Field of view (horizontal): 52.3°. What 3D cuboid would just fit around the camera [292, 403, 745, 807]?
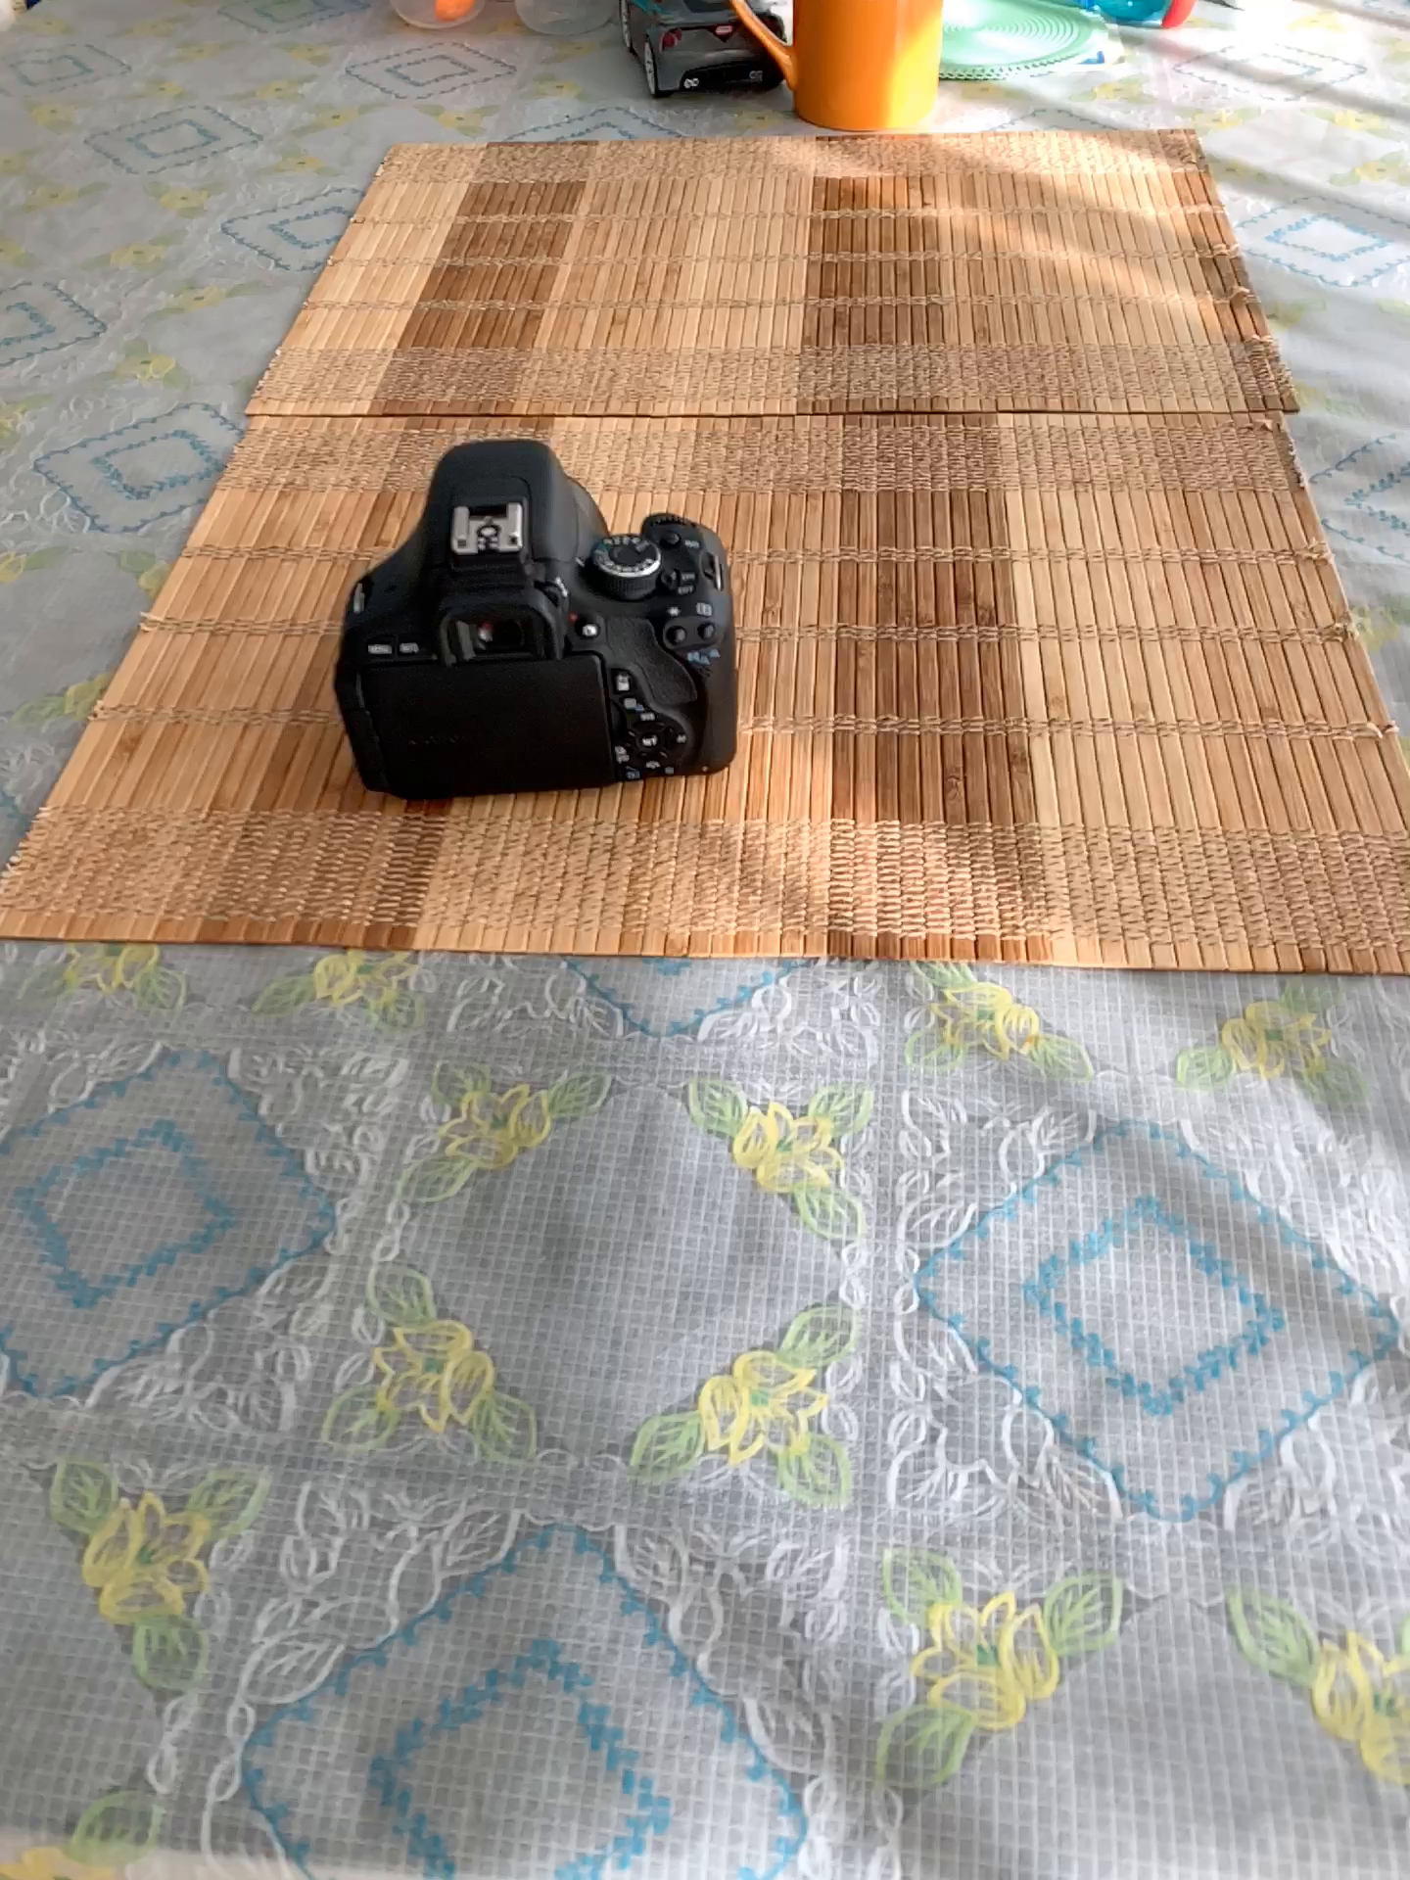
[{"bbox_3d":[-0.057,-0.115,0.491,0.133,0.080,0.106,-4,48,0],"label":"camera"}]
